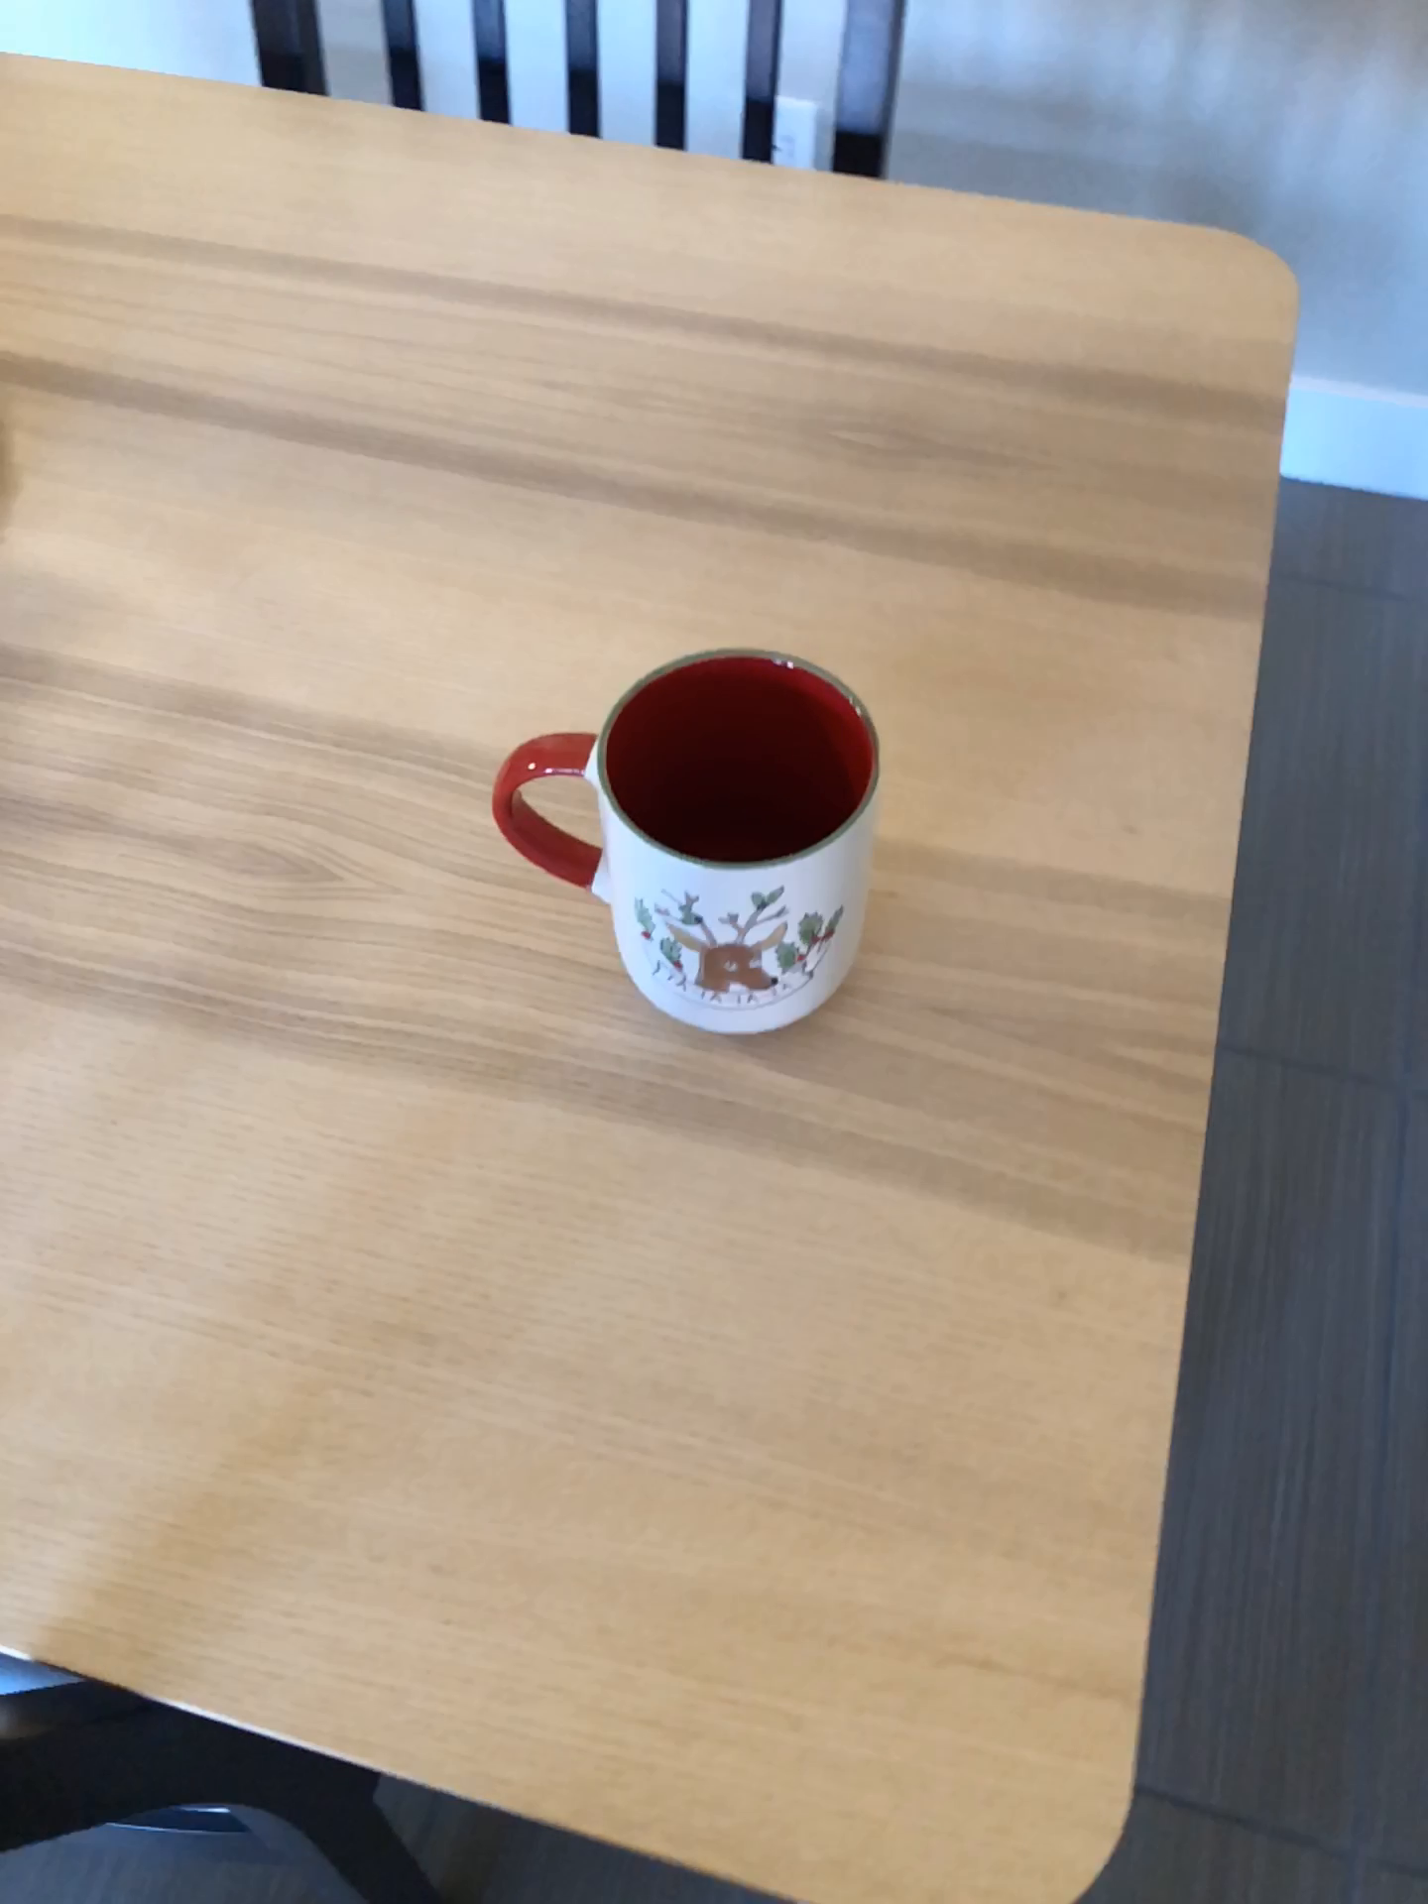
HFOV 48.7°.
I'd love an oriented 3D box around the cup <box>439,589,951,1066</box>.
[{"bbox_3d":[-0.002,-0.039,0.515,0.140,0.100,0.100,7,56,5],"label":"cup"}]
